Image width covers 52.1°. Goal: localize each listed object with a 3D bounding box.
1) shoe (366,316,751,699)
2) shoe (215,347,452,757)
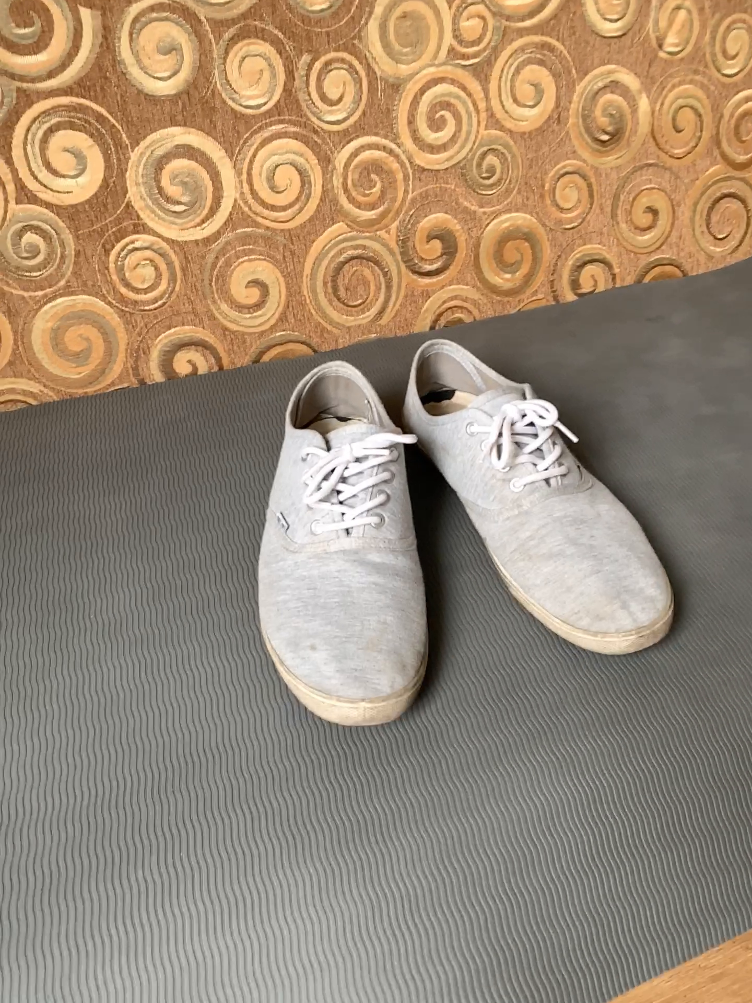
[{"bbox_3d":[0.099,-0.015,0.512,0.110,0.080,0.261,-19,47,-18],"label":"shoe"},{"bbox_3d":[-0.032,0.013,0.478,0.110,0.080,0.261,-4,44,-4],"label":"shoe"}]
